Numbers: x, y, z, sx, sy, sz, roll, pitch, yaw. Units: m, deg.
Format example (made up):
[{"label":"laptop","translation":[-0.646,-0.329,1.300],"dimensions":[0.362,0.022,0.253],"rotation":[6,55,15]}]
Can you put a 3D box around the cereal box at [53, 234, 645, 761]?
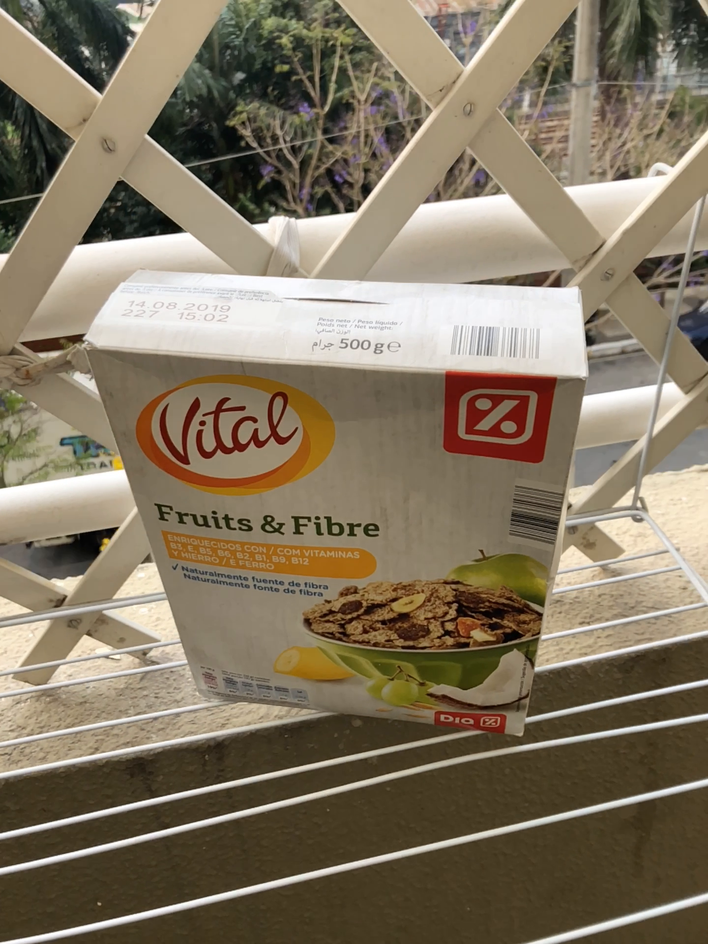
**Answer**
[{"label":"cereal box","translation":[0.006,0.028,0.387],"dimensions":[0.210,0.268,0.071],"rotation":[5,43,11]}]
